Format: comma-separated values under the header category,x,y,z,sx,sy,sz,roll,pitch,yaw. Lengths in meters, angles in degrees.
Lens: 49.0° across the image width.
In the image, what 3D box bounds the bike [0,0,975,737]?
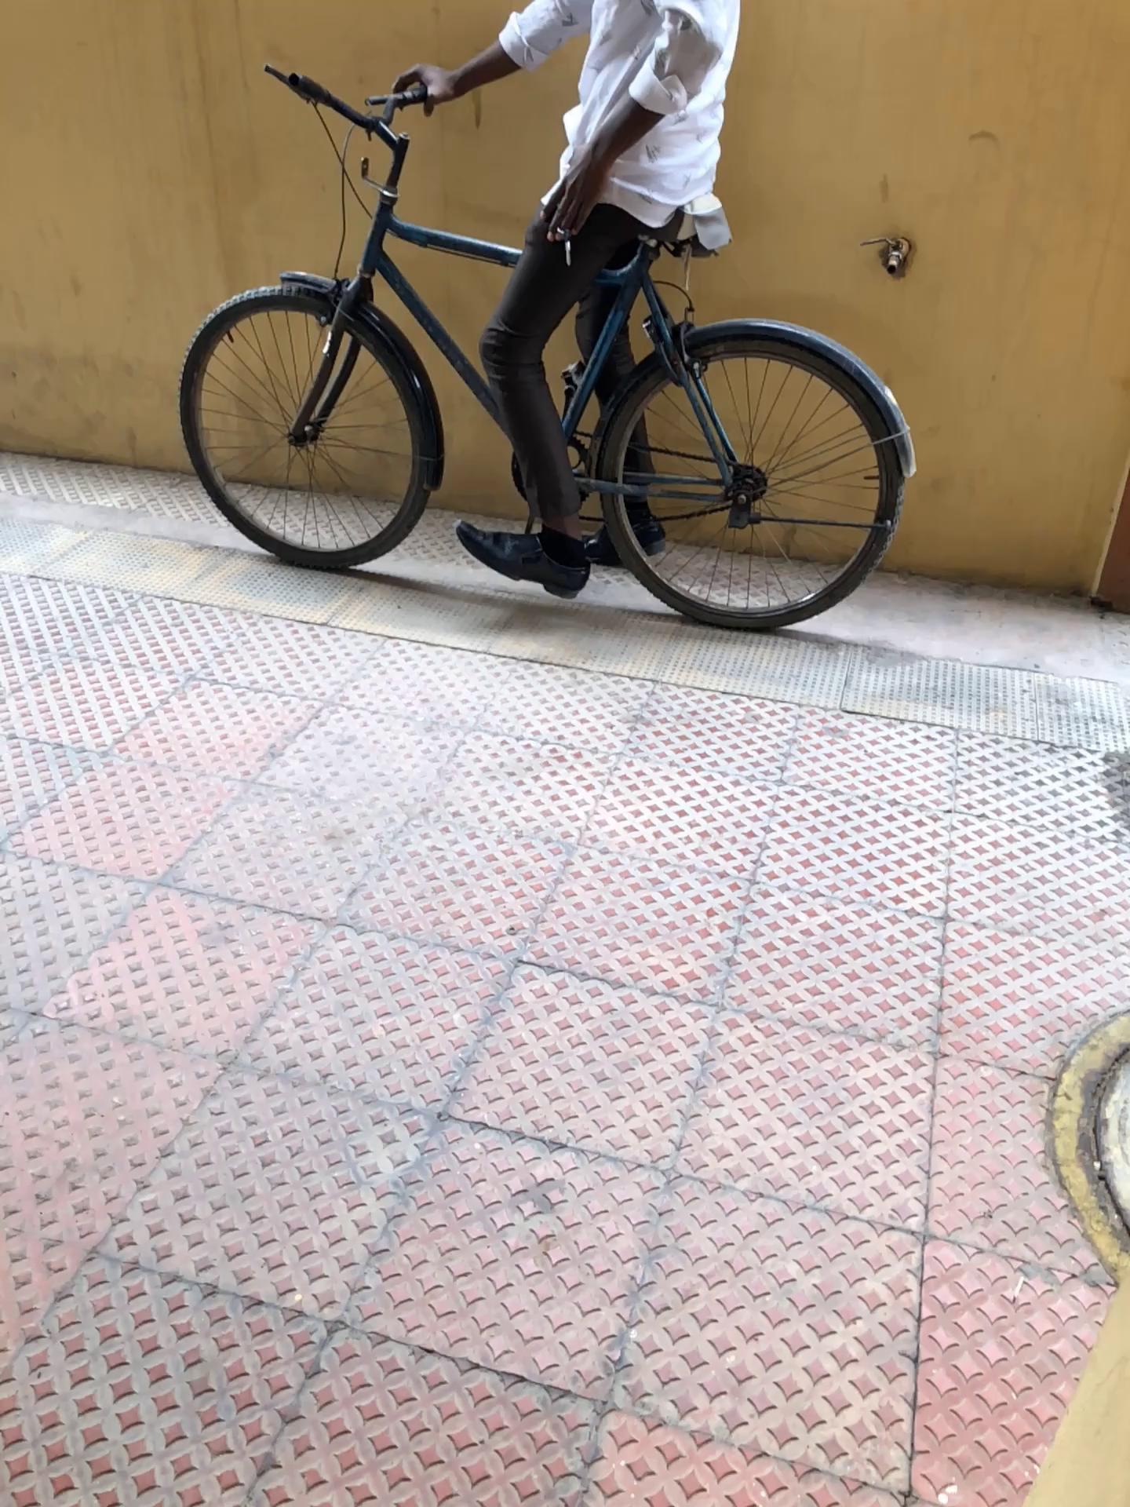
category,x,y,z,sx,sy,sz,roll,pitch,yaw
bike,-0.163,-0.780,2.406,1.571,1.023,0.592,13,35,13
